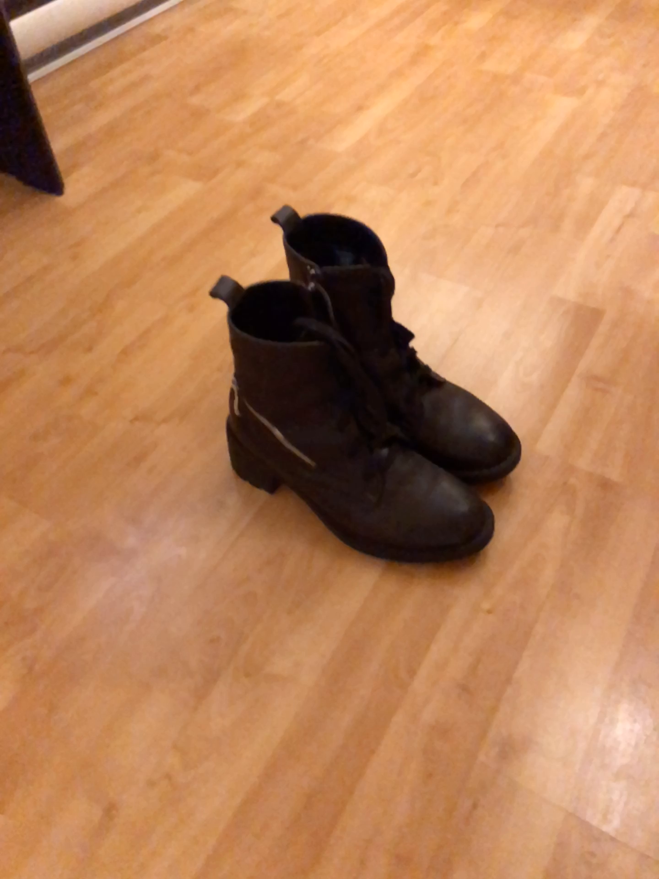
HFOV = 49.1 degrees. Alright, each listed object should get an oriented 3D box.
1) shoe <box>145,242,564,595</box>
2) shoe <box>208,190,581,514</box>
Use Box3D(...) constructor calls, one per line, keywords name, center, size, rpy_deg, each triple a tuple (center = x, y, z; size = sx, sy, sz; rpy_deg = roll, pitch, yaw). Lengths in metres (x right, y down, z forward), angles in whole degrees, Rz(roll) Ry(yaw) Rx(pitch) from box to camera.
Box3D(name="shoe", center=(0.017, -0.019, 0.570), size=(0.270, 0.179, 0.110), rpy_deg=(20, 53, 18))
Box3D(name="shoe", center=(0.050, -0.079, 0.632), size=(0.270, 0.179, 0.110), rpy_deg=(22, 53, 20))
